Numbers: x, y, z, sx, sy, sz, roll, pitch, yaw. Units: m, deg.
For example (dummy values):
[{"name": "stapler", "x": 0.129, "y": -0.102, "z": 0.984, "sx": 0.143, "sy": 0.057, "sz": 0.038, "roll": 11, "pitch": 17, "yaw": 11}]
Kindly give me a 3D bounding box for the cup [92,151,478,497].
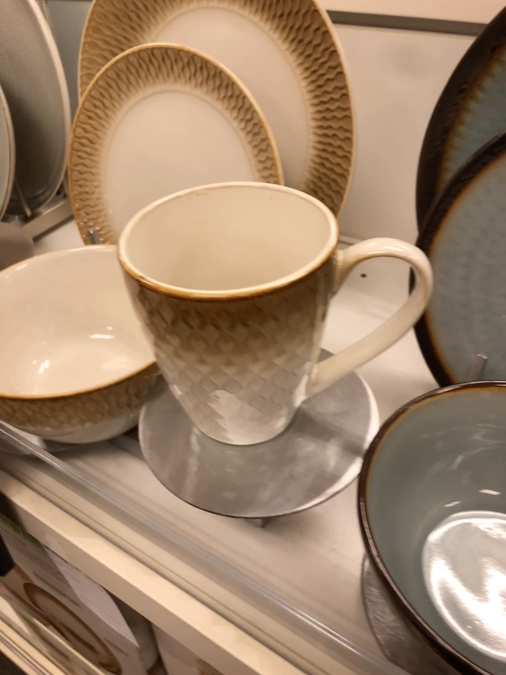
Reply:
[{"name": "cup", "x": 0.008, "y": -0.013, "z": 0.259, "sx": 0.128, "sy": 0.089, "sz": 0.100, "roll": -15, "pitch": 41, "yaw": -14}]
